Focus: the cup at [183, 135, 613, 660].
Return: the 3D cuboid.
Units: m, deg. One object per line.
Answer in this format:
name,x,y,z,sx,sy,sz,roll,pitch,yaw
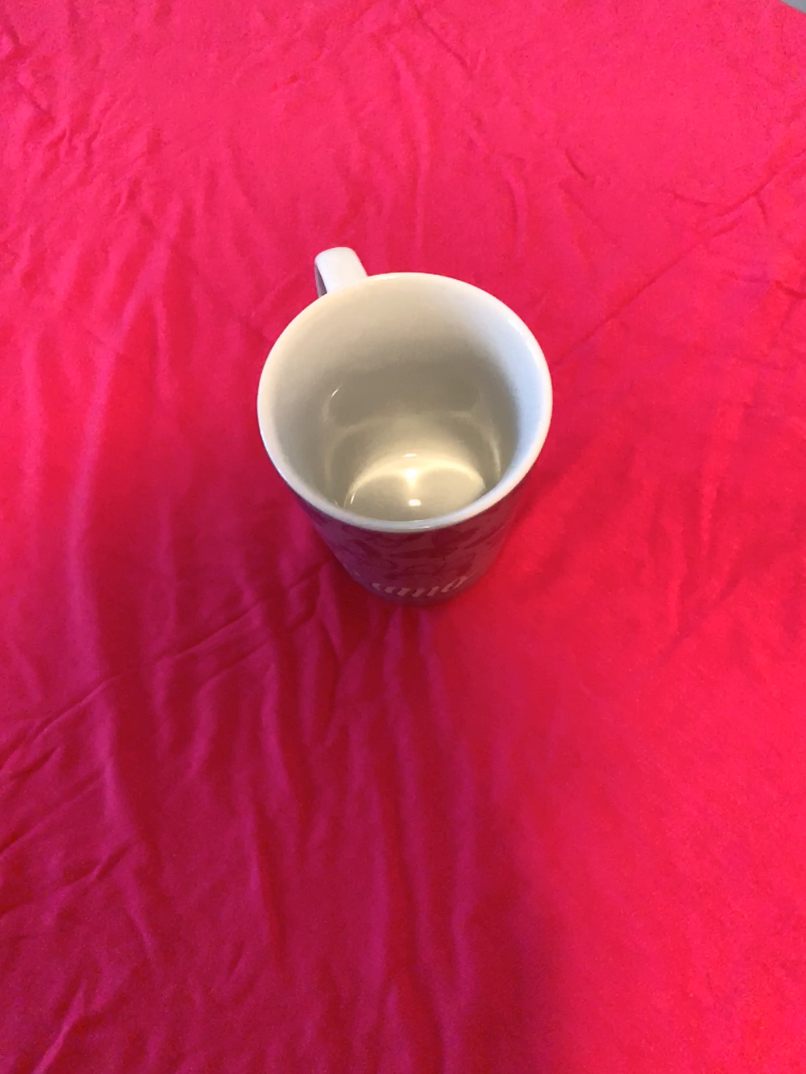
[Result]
cup,-0.003,-0.037,0.265,0.080,0.100,0.110,-20,69,-5
